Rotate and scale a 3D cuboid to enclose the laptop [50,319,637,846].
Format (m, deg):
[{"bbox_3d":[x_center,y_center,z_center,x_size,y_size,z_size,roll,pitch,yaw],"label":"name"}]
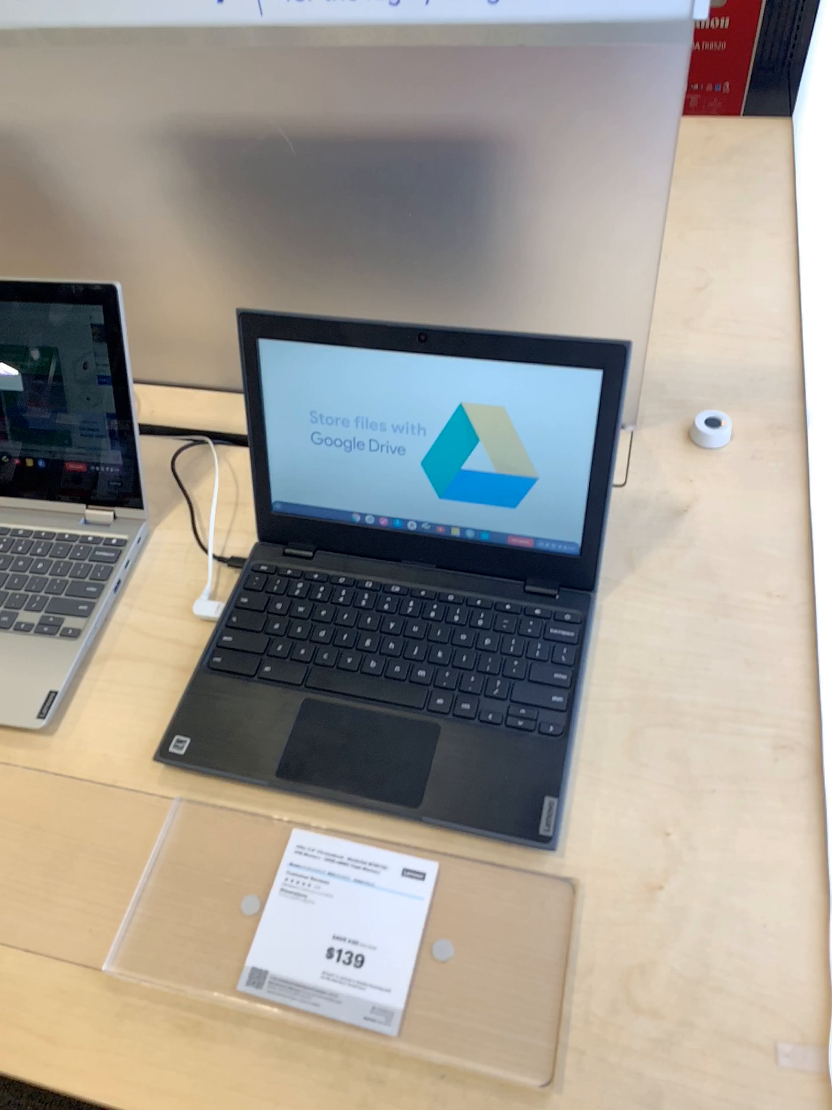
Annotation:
[{"bbox_3d":[-0.020,0.004,0.561,0.276,0.171,0.266,9,54,15],"label":"laptop"}]
